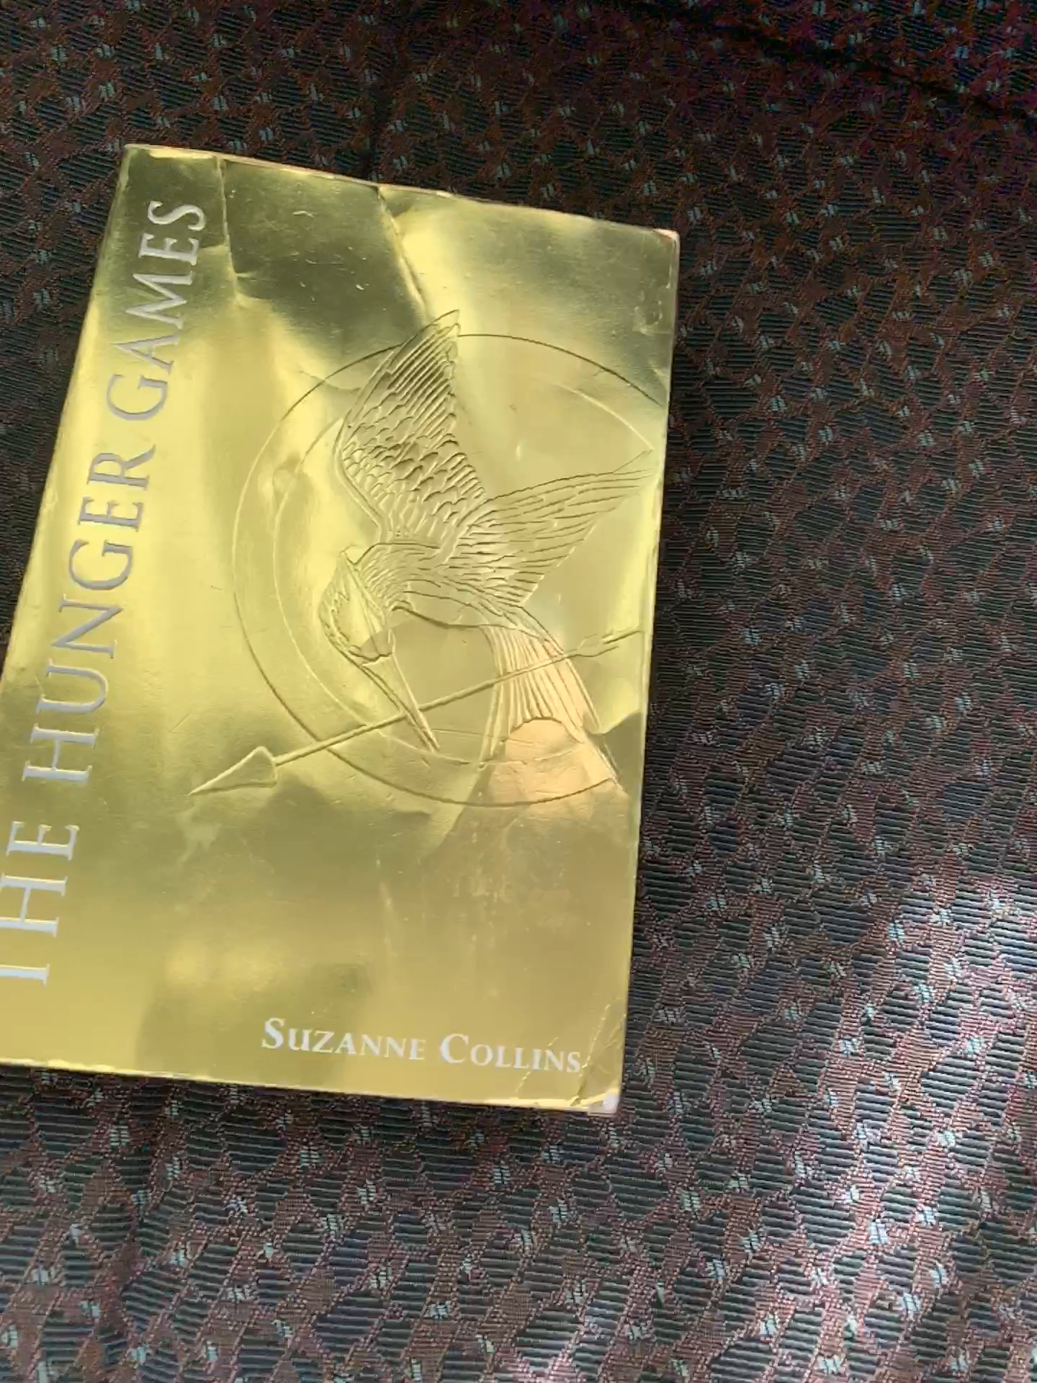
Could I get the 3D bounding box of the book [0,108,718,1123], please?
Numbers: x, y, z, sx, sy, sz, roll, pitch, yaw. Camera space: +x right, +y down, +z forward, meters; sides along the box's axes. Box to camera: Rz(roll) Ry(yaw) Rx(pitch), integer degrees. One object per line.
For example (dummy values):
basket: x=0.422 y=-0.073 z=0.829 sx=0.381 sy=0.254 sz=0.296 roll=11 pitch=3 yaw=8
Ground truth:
book: x=-0.034 y=-0.019 z=0.238 sx=0.142 sy=0.037 sz=0.200 roll=7 pitch=75 yaw=-8
